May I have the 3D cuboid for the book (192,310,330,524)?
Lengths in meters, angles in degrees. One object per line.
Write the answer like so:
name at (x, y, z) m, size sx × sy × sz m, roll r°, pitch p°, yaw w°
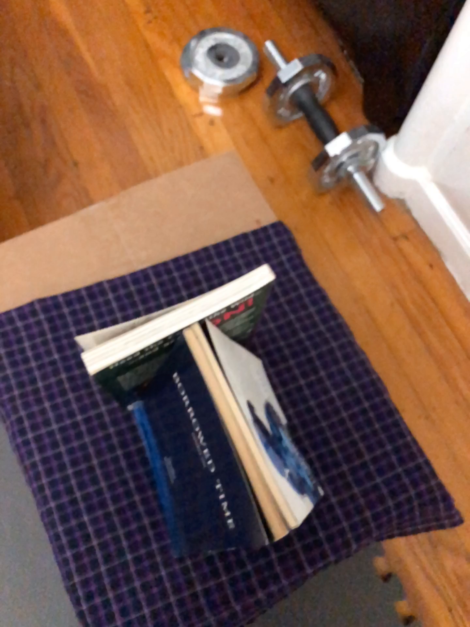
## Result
book at (0.030, 0.082, 0.417) m, size 0.010 × 0.200 × 0.140 m, roll -29°, pitch 71°, yaw 6°

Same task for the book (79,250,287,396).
book at (-0.042, 0.018, 0.433) m, size 0.140 × 0.190 × 0.020 m, roll -25°, pitch 79°, yaw -12°

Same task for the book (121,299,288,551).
book at (-0.040, 0.100, 0.409) m, size 0.010 × 0.200 × 0.150 m, roll -13°, pitch 70°, yaw -30°
